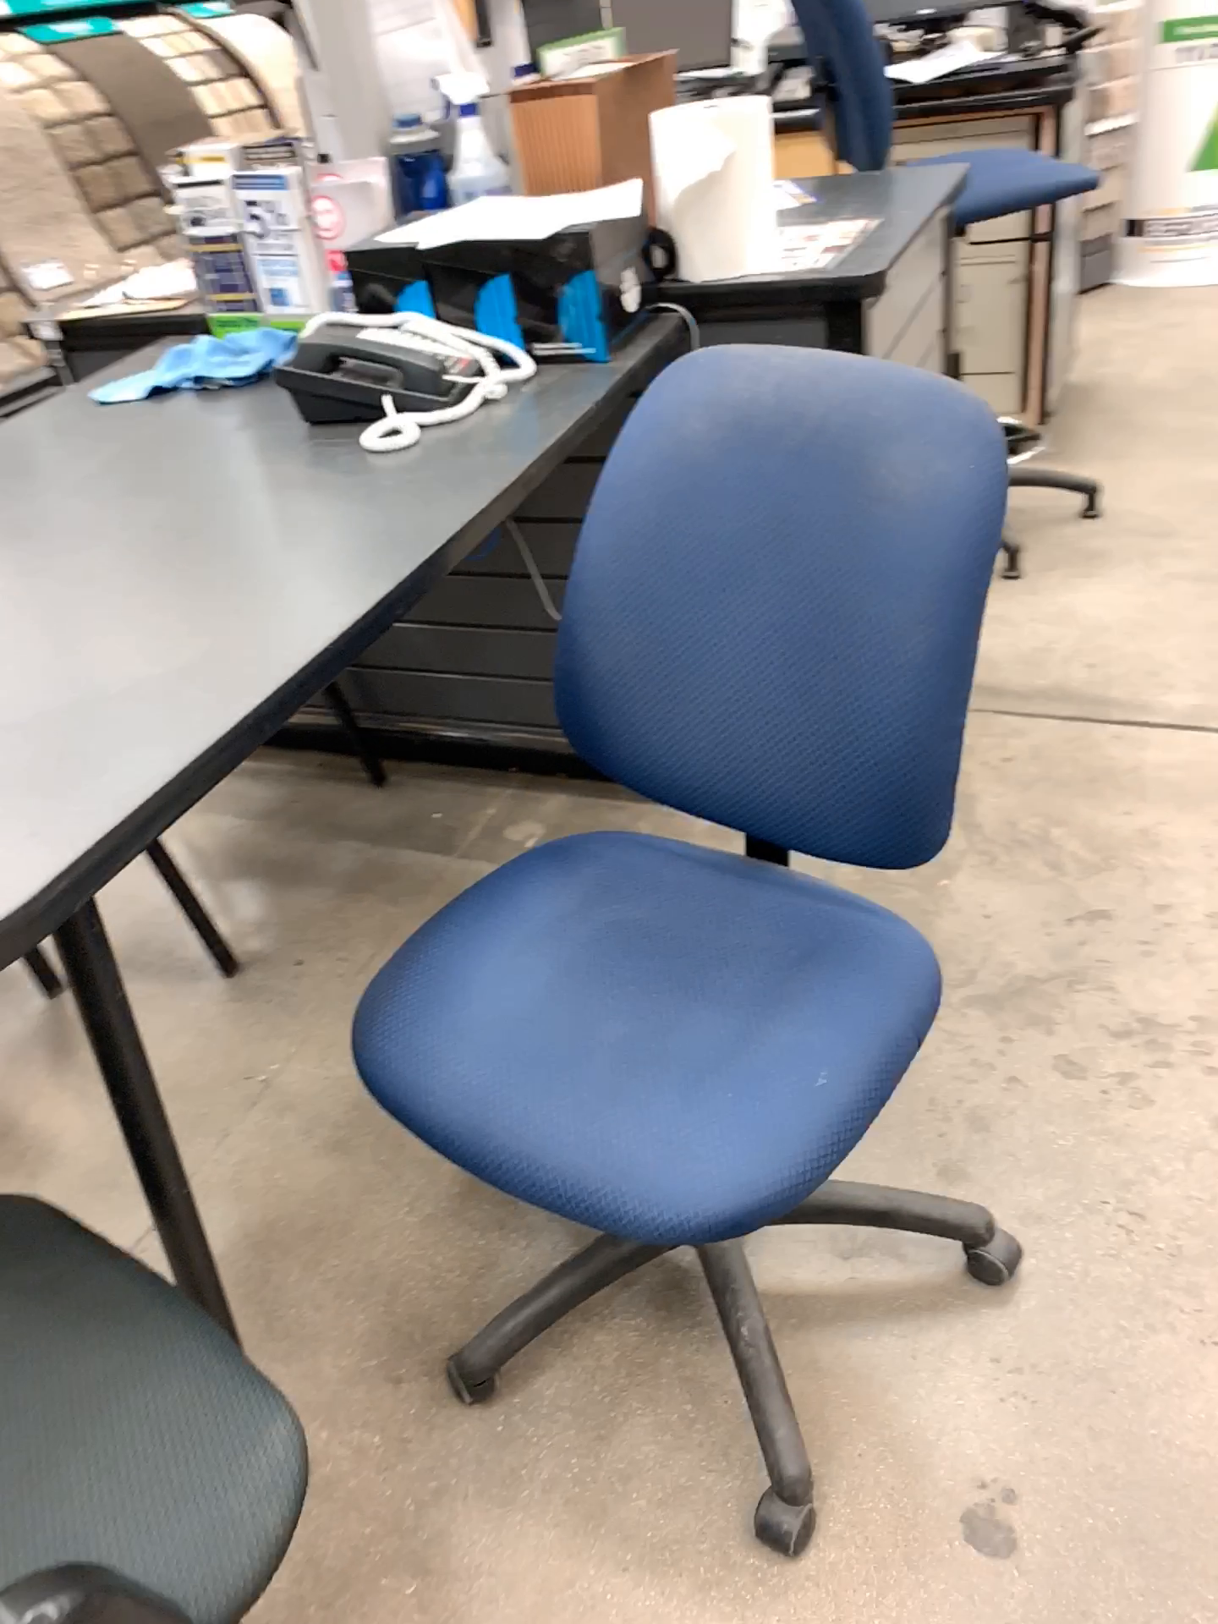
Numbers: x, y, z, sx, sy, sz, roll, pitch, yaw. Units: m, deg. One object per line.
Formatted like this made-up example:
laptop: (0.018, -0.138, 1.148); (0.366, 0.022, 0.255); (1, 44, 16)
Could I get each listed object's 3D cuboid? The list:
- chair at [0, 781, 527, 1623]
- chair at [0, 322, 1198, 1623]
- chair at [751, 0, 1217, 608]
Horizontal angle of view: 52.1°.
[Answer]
chair: (-0.510, 0.521, 0.836); (0.569, 0.799, 0.542); (21, 44, 37)
chair: (0.053, 0.088, 1.189); (0.699, 0.889, 0.663); (15, 40, 32)
chair: (0.763, -1.236, 2.735); (0.701, 1.227, 0.852); (-8, 33, 2)
